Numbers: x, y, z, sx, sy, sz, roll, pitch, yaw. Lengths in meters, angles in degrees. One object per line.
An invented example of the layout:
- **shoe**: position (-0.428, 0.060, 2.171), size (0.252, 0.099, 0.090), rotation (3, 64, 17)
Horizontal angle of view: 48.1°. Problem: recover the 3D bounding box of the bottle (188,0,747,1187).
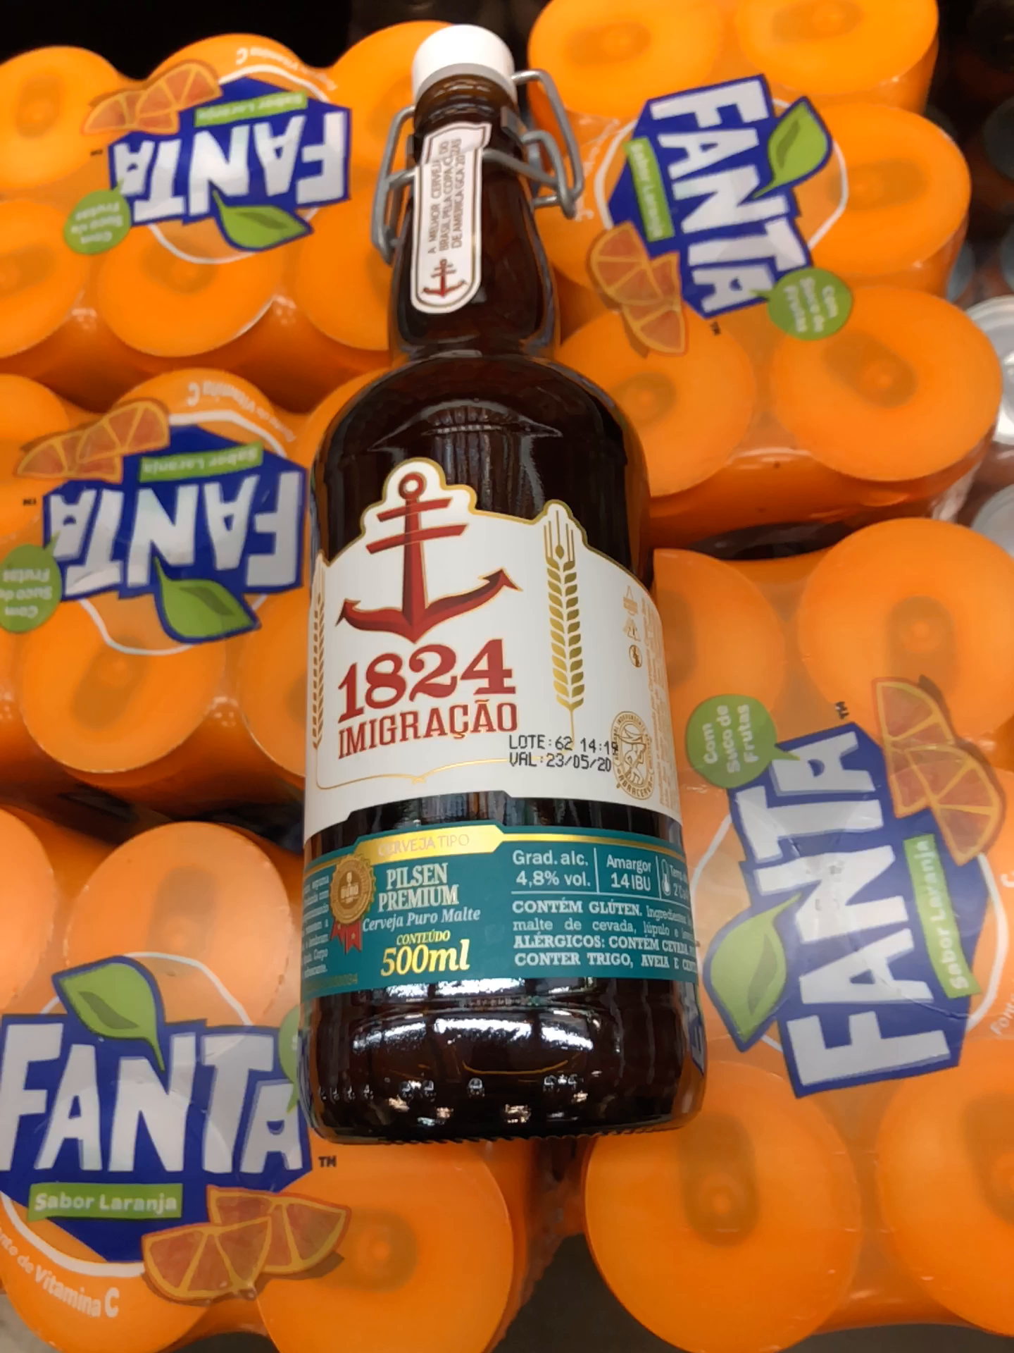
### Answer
- **bottle**: position (-0.010, -0.041, 0.222), size (0.080, 0.050, 0.250), rotation (-5, 72, 6)
